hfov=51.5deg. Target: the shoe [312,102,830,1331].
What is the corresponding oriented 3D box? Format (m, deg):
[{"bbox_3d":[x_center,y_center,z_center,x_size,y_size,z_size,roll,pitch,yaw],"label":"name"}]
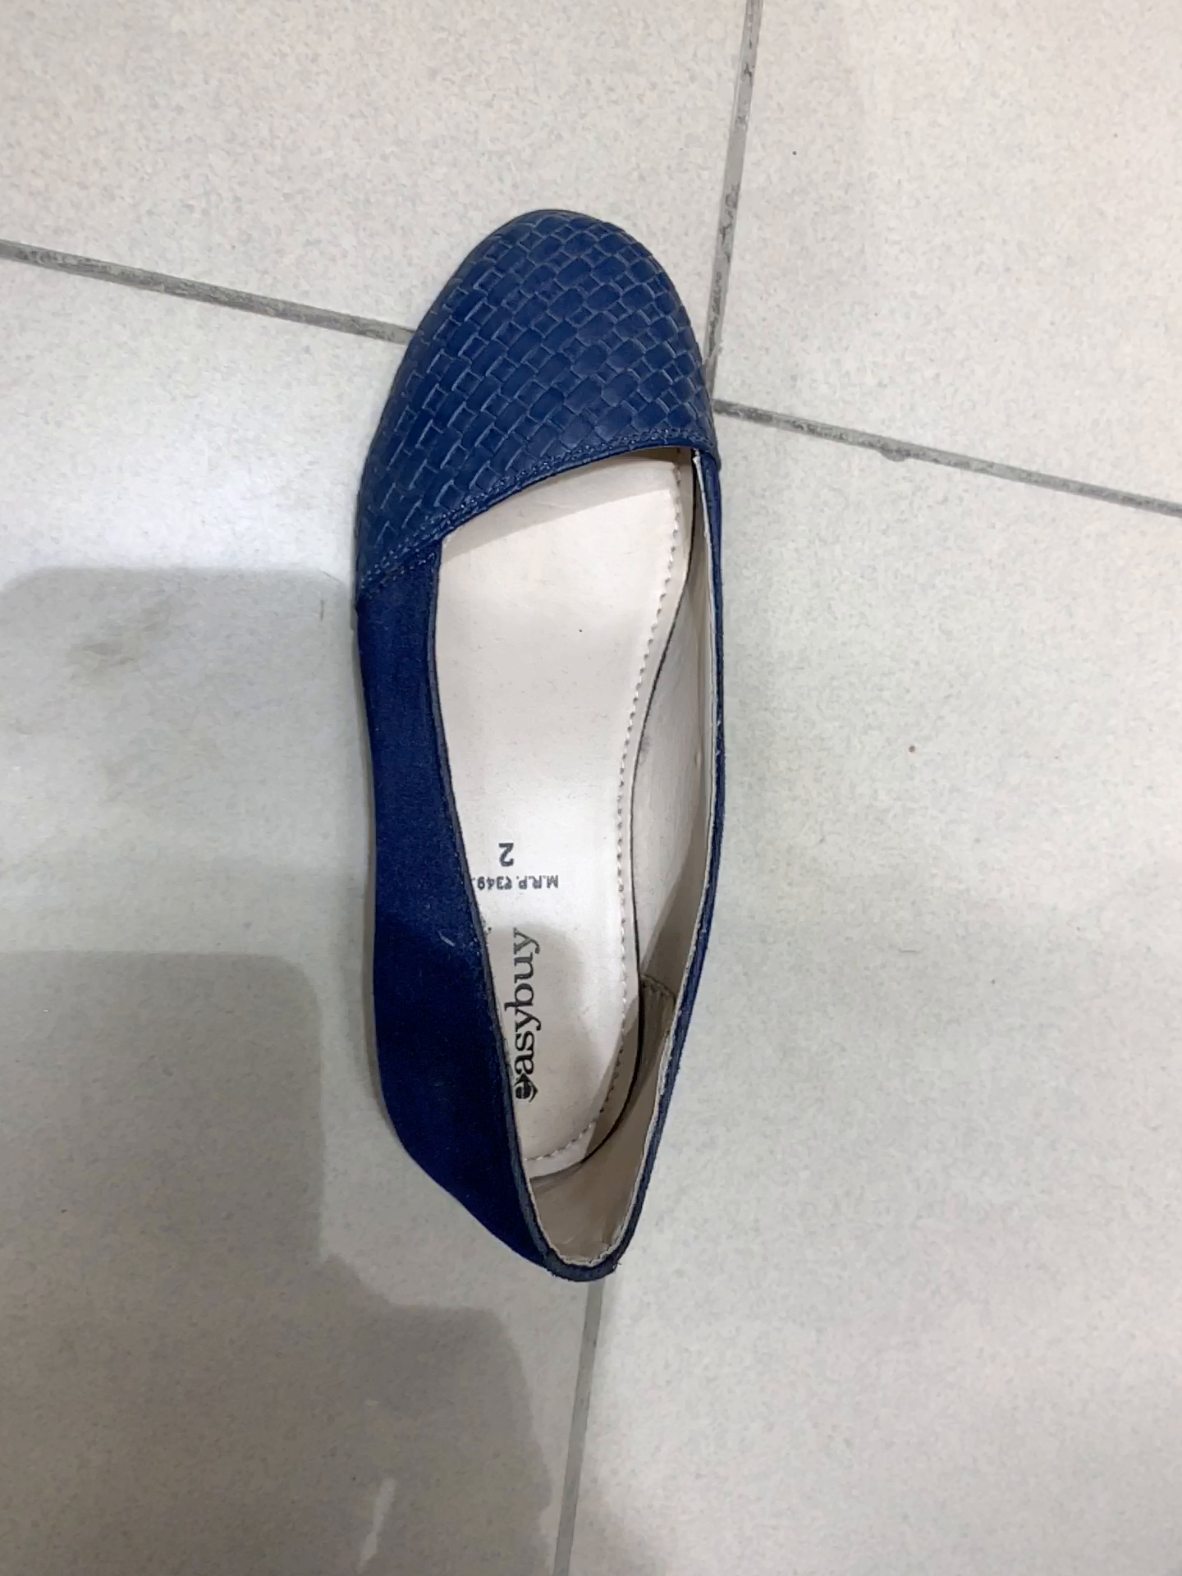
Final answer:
[{"bbox_3d":[-0.008,-0.011,0.260,0.090,0.060,0.220,2,92,-15],"label":"shoe"}]
